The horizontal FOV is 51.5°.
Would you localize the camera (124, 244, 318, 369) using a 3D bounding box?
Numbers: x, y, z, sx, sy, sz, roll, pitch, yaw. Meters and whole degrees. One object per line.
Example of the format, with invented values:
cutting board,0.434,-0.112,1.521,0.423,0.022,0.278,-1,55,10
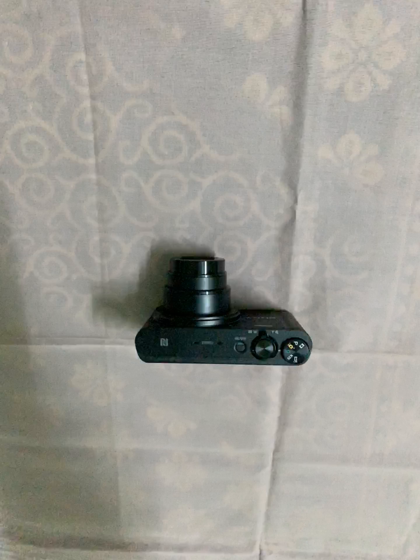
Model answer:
camera,0.006,0.012,0.261,0.100,0.060,0.058,1,103,2
